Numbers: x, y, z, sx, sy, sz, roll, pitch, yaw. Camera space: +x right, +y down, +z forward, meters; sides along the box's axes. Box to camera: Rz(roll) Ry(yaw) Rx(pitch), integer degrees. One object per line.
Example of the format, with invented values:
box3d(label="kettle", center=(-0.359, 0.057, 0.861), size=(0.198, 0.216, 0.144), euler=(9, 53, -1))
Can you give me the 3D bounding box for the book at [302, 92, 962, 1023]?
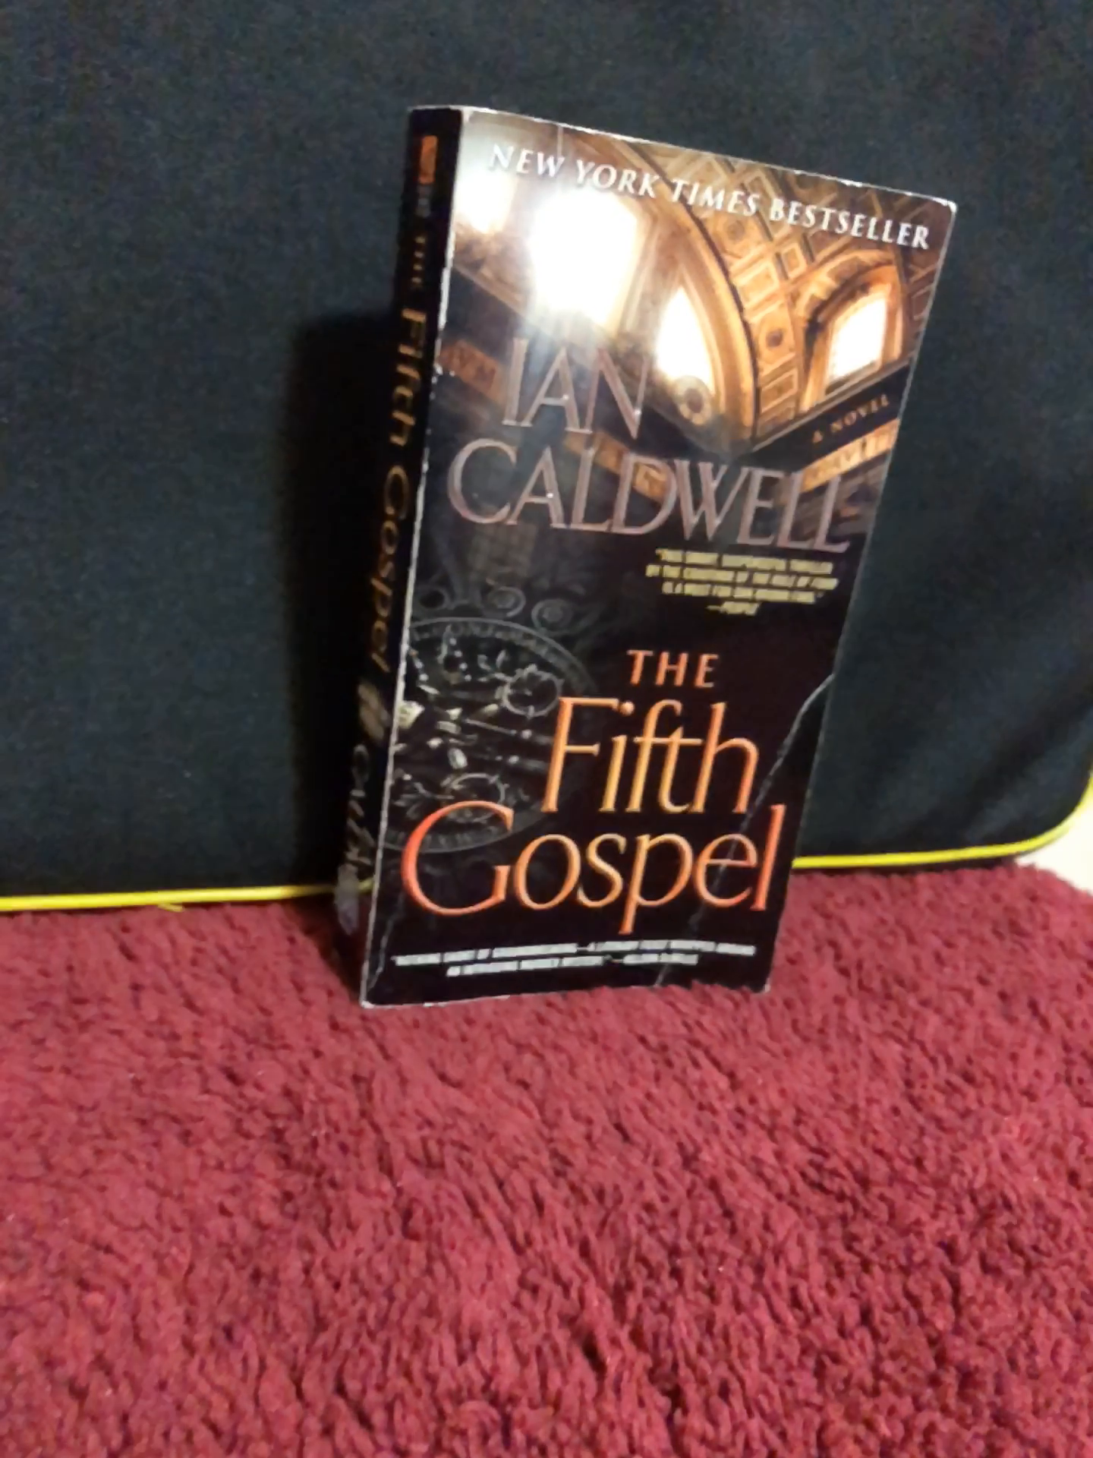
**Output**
box3d(label="book", center=(0.010, -0.030, 0.297), size=(0.120, 0.199, 0.050), euler=(3, 19, -15))
